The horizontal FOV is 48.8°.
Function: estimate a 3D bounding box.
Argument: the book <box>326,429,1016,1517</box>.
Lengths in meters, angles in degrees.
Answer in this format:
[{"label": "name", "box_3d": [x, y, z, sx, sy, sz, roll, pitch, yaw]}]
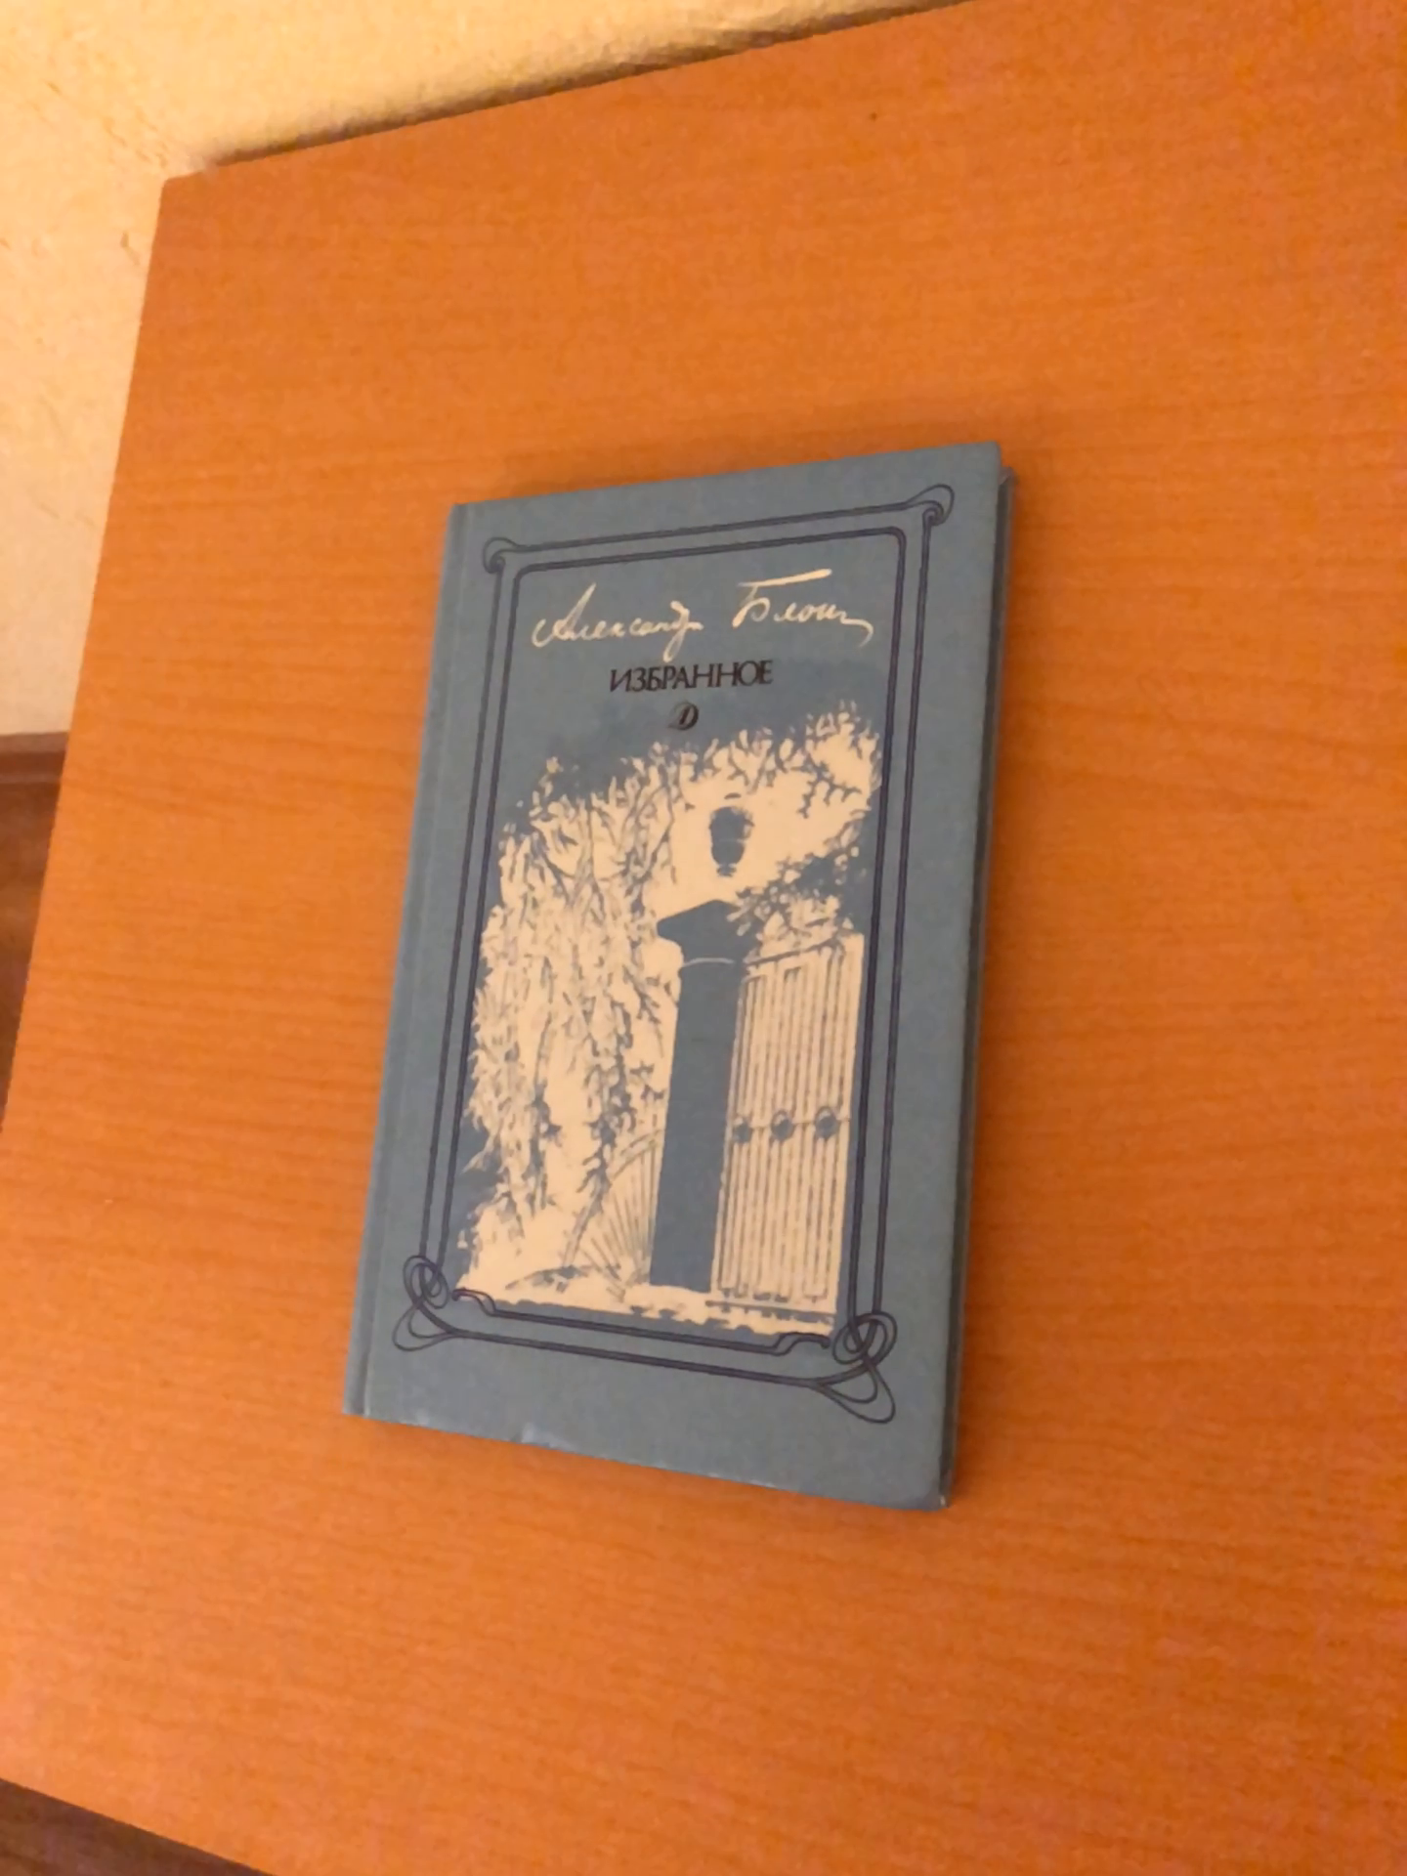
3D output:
[{"label": "book", "box_3d": [-0.007, 0.002, 0.332, 0.135, 0.020, 0.210, 1, 80, 24]}]
